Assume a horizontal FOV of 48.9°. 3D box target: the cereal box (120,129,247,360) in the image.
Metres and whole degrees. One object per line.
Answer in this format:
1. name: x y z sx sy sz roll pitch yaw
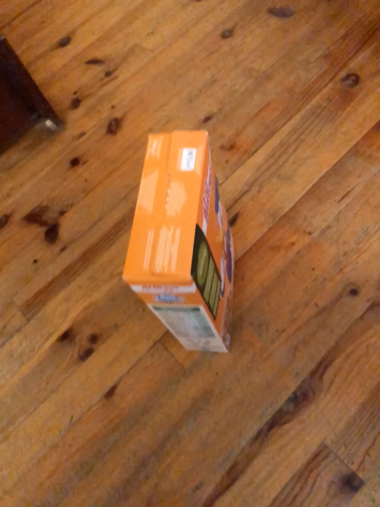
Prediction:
1. cereal box: 0.015 0.012 0.586 0.090 0.299 0.201 0 63 14
